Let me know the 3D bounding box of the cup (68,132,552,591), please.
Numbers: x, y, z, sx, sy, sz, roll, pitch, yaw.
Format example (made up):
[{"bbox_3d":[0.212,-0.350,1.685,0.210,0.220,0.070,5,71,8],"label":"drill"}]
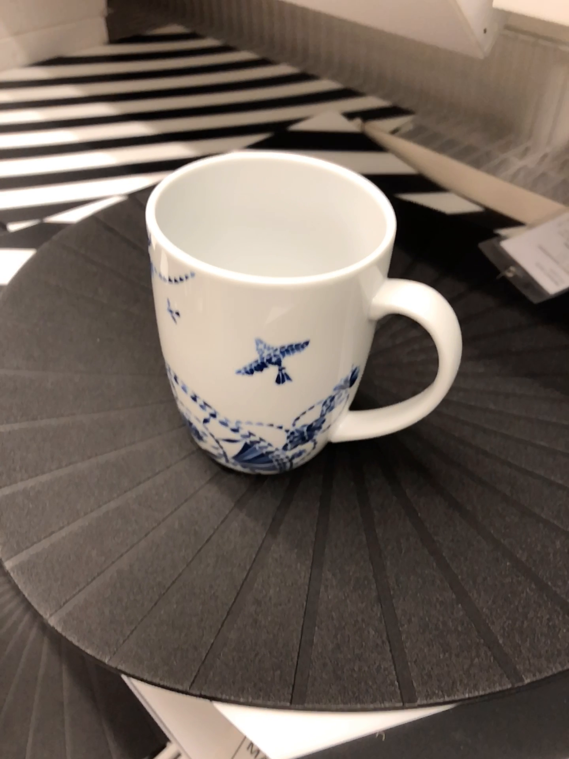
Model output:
[{"bbox_3d":[0.009,-0.015,0.249,0.130,0.100,0.100,25,47,22],"label":"cup"}]
